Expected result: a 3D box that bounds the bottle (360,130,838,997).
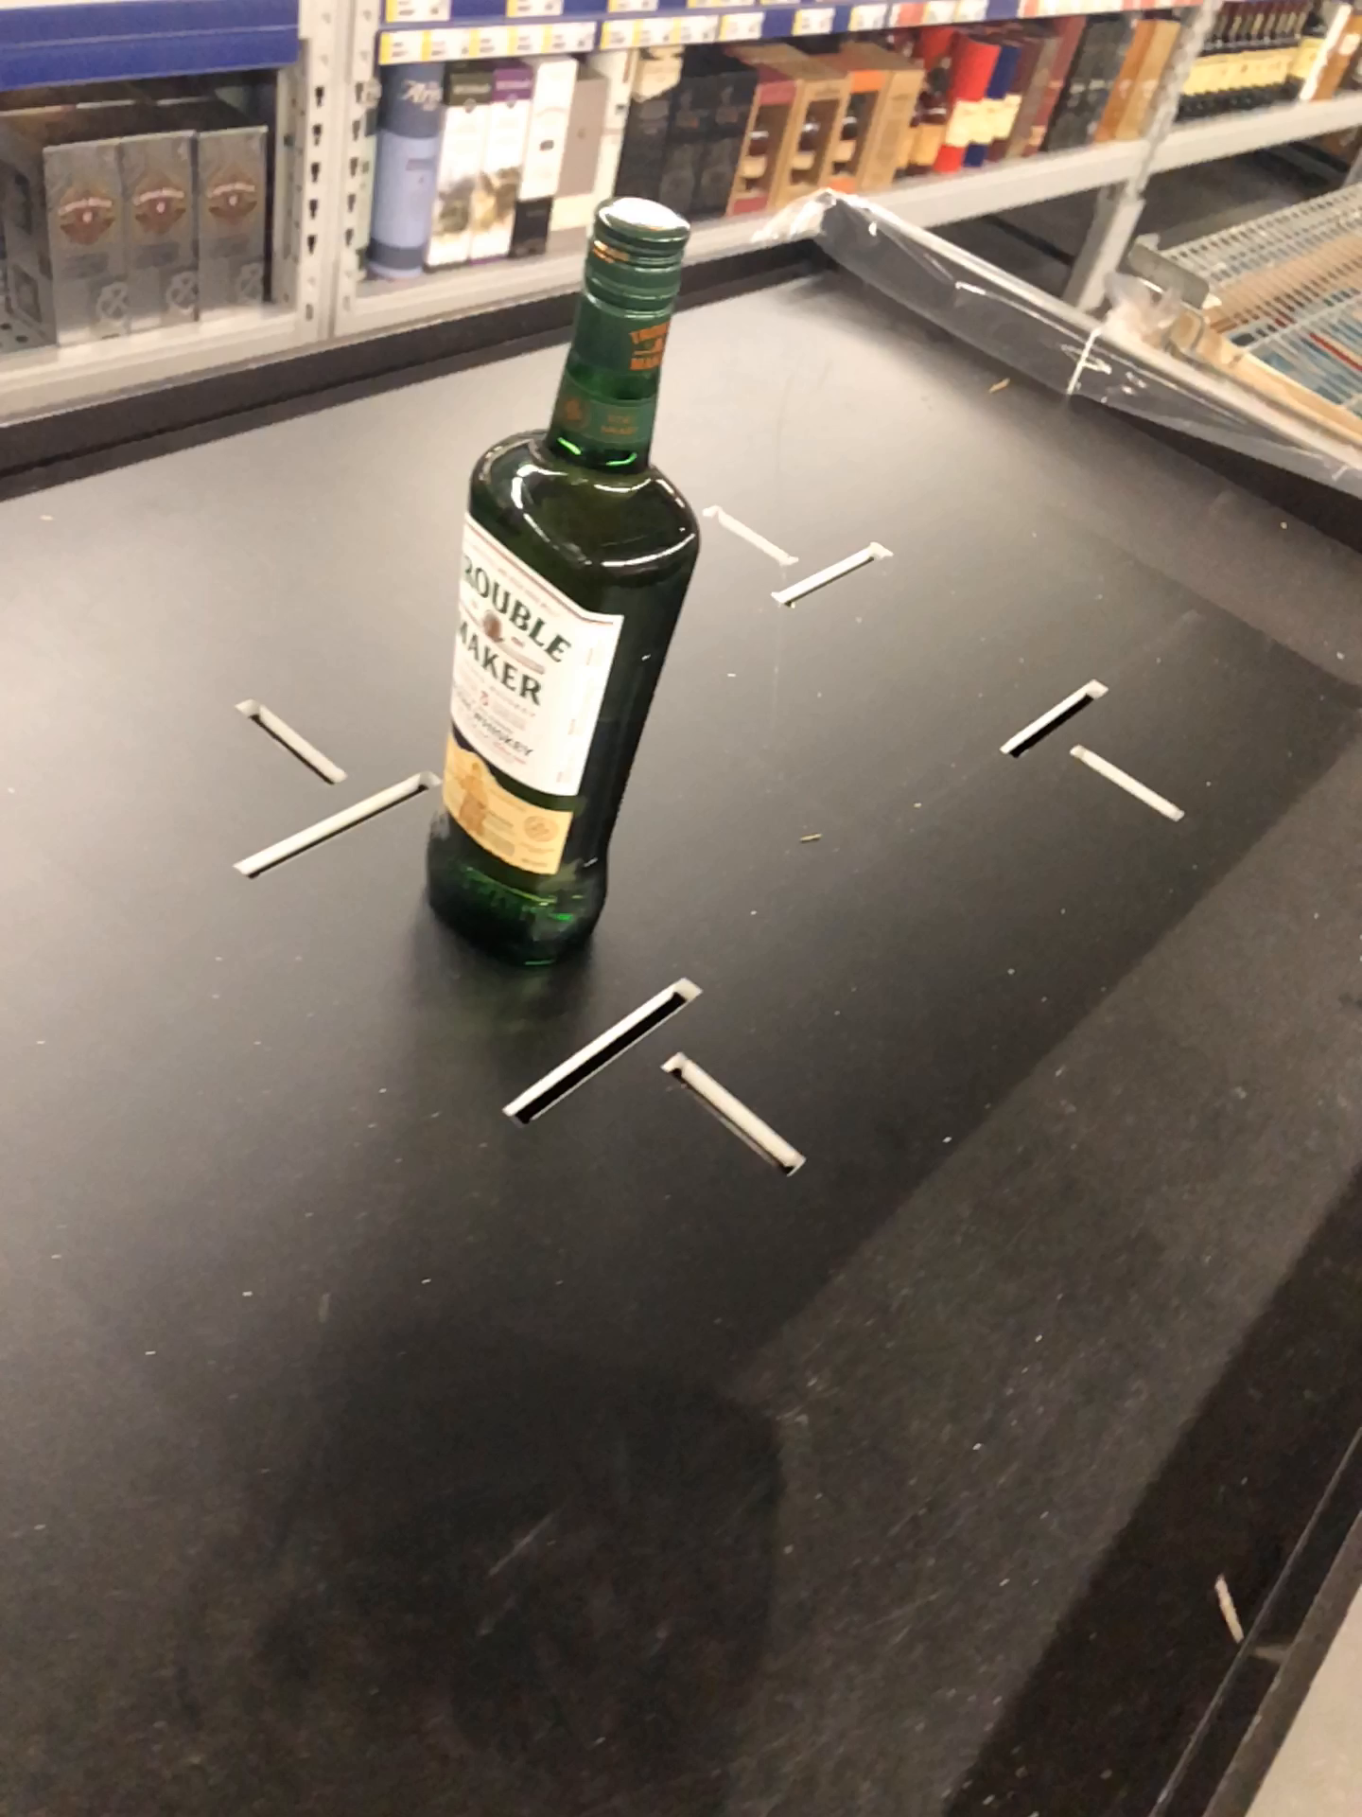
[{"bbox_3d":[-0.046,-0.113,0.564,0.080,0.298,0.100,-29,60,-38],"label":"bottle"}]
